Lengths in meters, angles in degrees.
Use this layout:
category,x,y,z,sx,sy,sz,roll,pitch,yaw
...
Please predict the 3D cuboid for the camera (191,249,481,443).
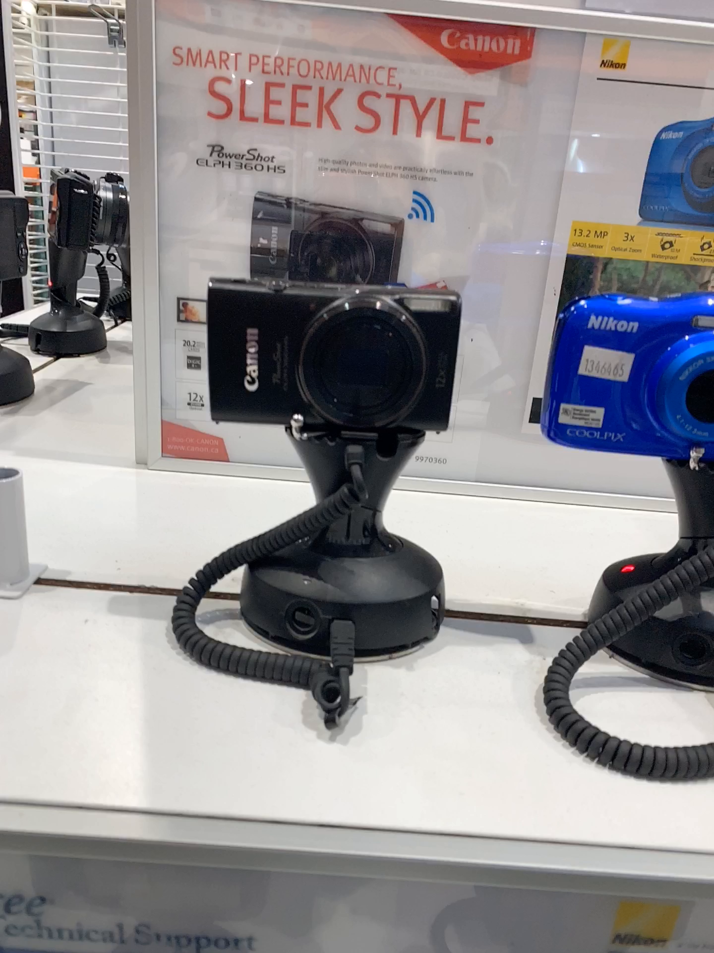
category,x,y,z,sx,sy,sz,roll,pitch,yaw
camera,-0.010,-0.051,0.282,0.100,0.060,0.040,3,20,-6
